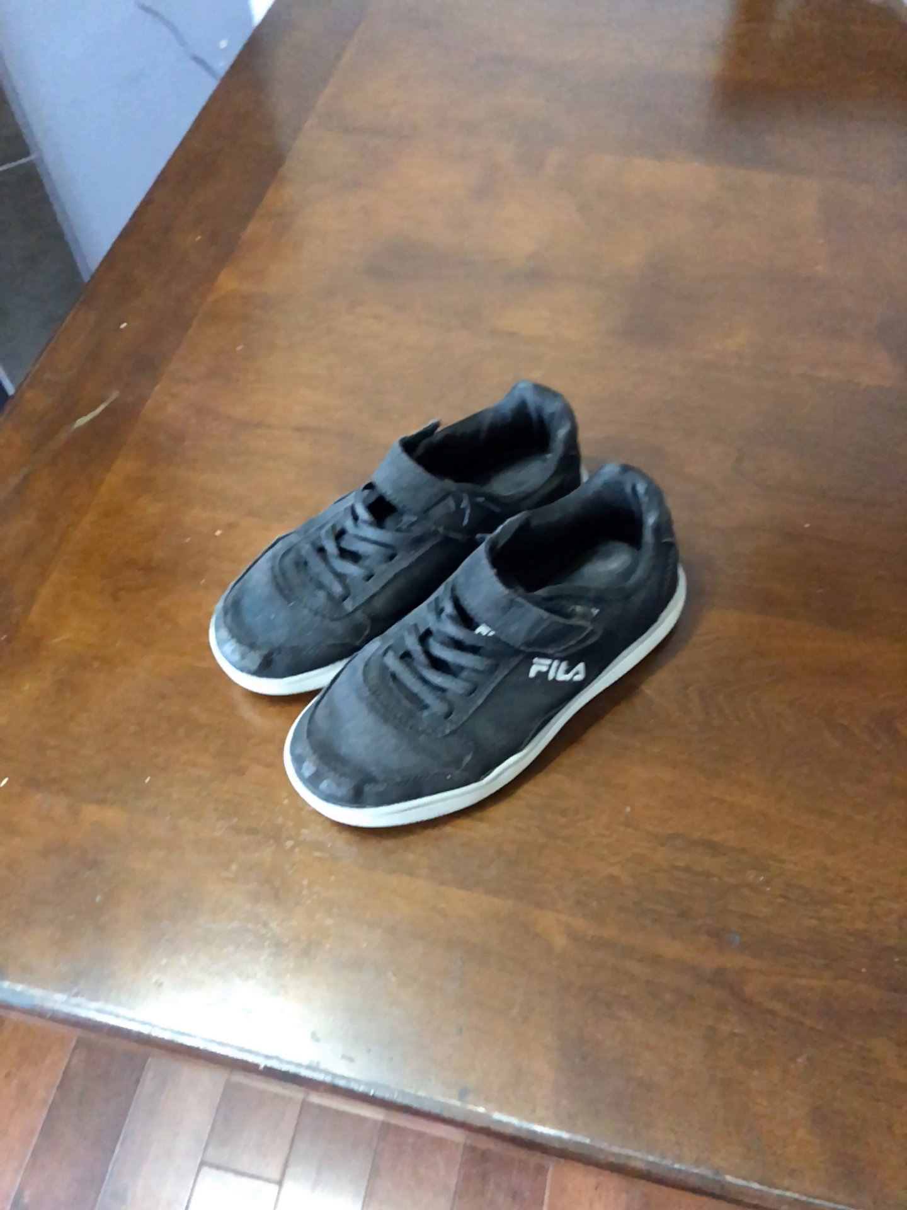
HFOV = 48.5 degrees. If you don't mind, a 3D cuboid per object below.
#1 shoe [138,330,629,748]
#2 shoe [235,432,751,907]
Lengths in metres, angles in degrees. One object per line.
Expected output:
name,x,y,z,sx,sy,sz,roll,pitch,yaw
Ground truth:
shoe,-0.028,-0.036,0.495,0.210,0.080,0.090,-31,61,-17
shoe,0.022,0.024,0.460,0.210,0.080,0.090,-35,62,-19
